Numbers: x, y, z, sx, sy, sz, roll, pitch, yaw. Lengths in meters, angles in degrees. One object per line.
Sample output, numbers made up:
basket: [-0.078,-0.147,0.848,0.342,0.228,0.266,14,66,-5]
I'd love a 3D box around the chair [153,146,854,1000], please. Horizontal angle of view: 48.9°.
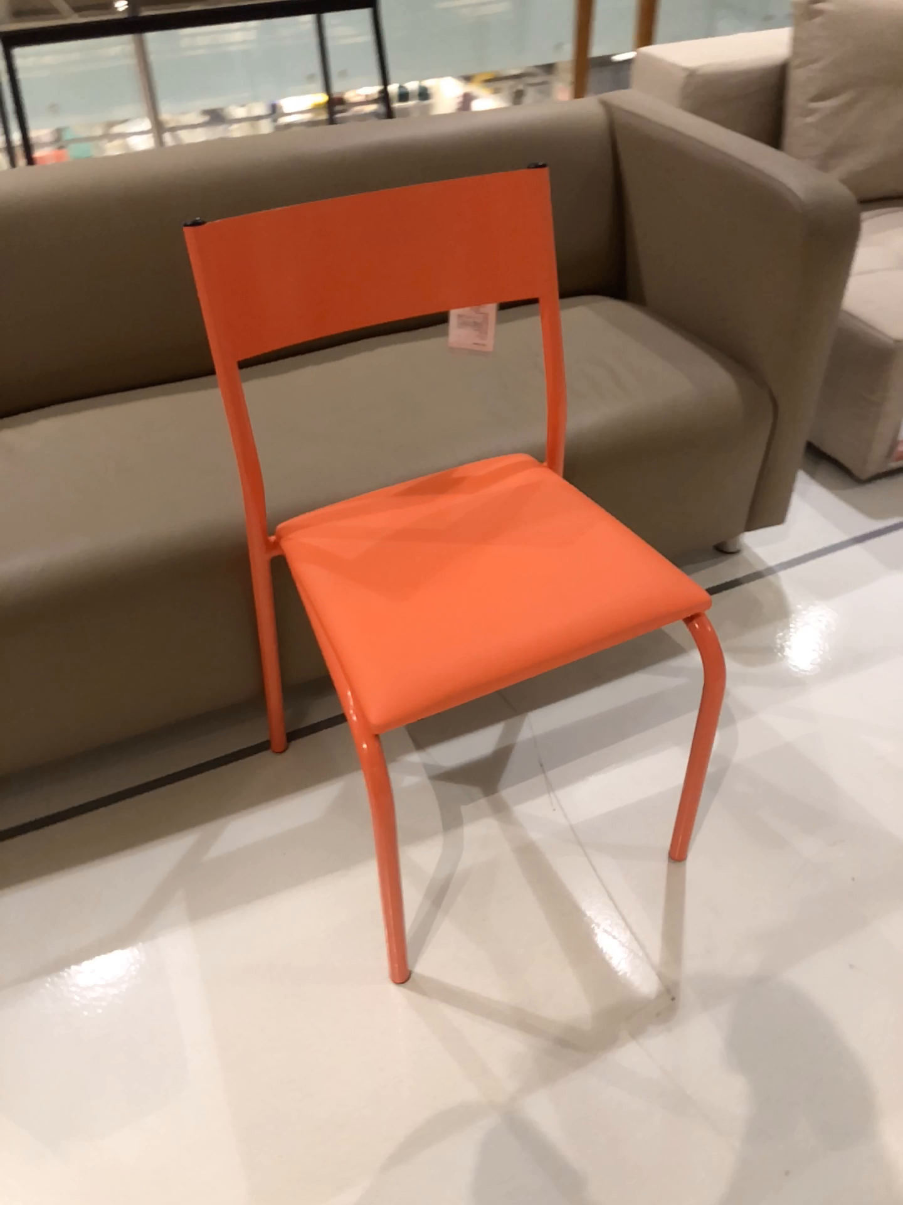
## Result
chair: [0.023,-0.035,1.199,0.501,0.784,0.493,-17,42,-18]
